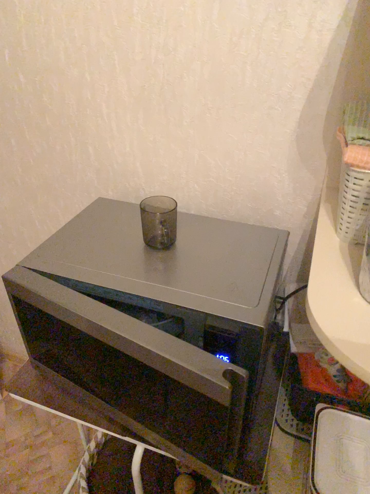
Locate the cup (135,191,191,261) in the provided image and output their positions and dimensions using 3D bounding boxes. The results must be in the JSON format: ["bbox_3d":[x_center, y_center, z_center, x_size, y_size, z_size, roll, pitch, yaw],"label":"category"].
[{"bbox_3d":[-0.044,-0.043,0.731,0.080,0.079,0.111,-10,34,-15],"label":"cup"}]
